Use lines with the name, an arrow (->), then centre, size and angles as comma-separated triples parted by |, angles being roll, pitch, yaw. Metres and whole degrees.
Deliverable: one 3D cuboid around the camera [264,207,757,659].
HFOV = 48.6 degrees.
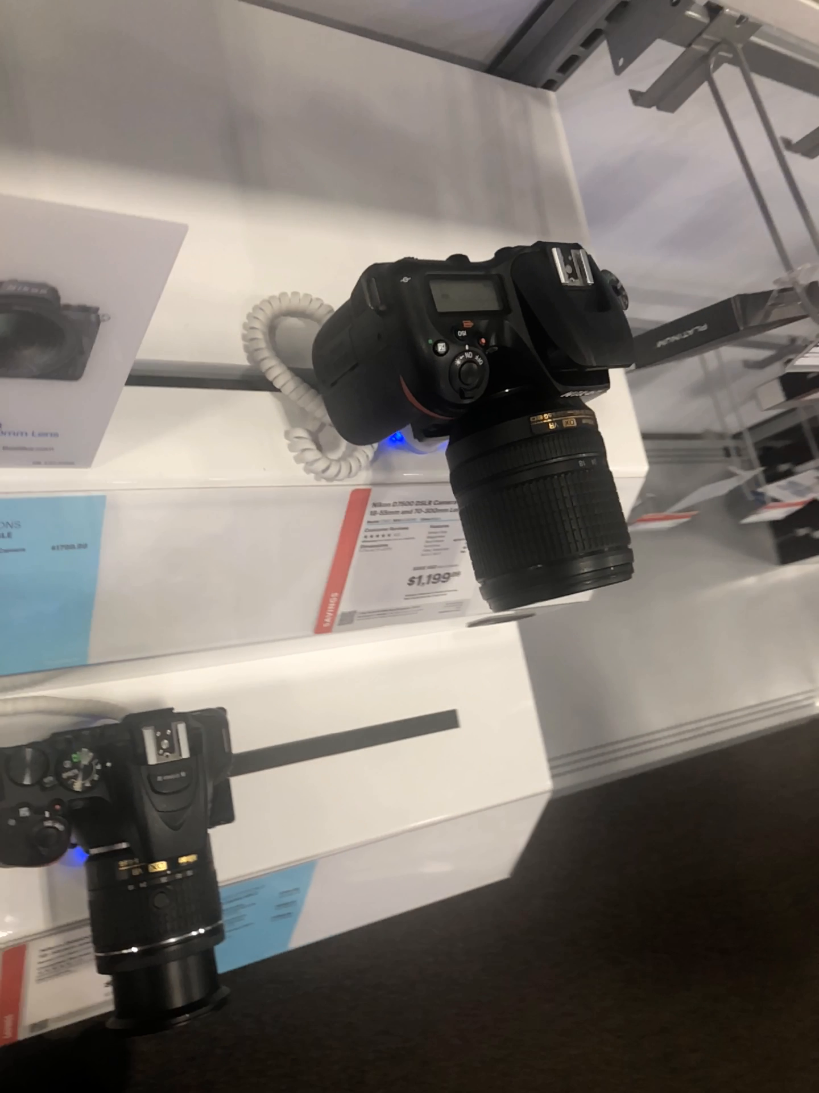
camera -> 0.044, -0.051, 0.427 | 0.161, 0.109, 0.160 | -10, 80, -34
